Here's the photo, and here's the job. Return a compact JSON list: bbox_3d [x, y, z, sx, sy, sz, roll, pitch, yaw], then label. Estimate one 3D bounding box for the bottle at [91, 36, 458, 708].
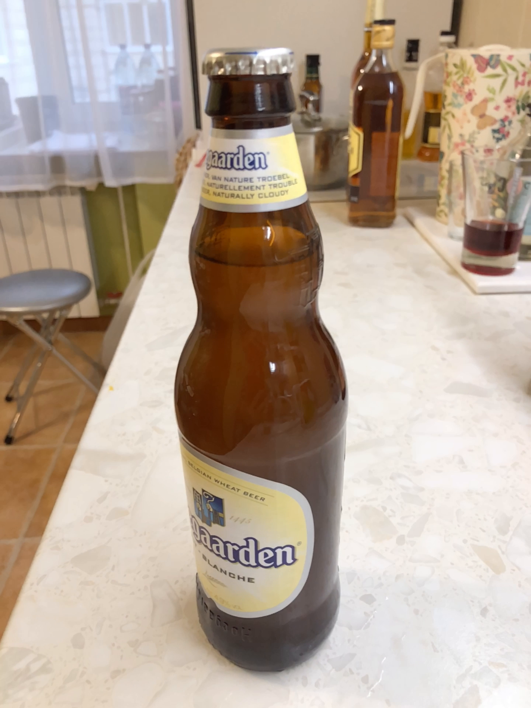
[{"bbox_3d":[0.005,0.019,0.228,0.080,0.248,0.070,-24,35,-36],"label":"bottle"}]
